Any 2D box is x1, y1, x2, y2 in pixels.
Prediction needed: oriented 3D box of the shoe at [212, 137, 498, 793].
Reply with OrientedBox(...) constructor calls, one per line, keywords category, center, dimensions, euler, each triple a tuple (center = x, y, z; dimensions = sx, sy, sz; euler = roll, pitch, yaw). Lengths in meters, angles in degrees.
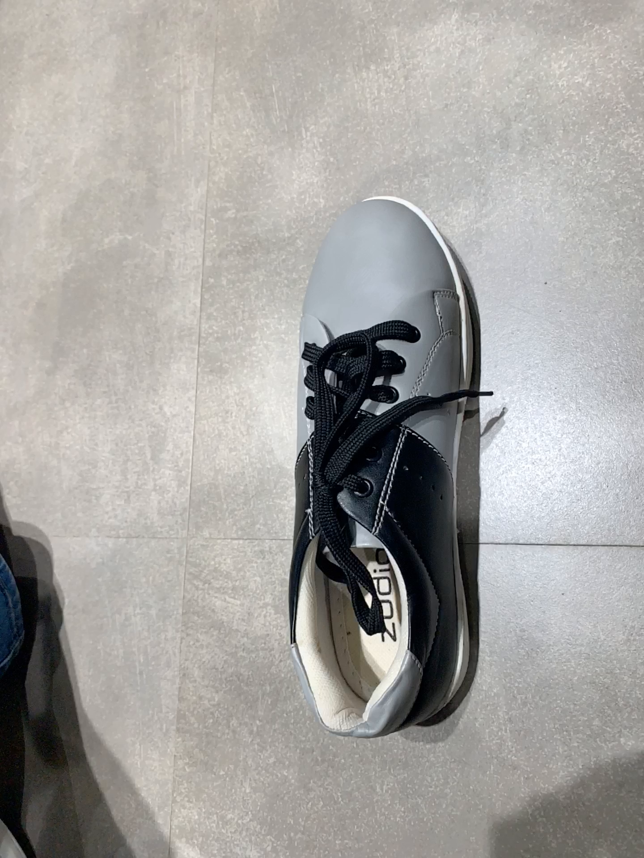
OrientedBox(category="shoe", center=(0.020, 0.014, 0.326), dimensions=(0.101, 0.093, 0.263), euler=(-5, 77, 25))
